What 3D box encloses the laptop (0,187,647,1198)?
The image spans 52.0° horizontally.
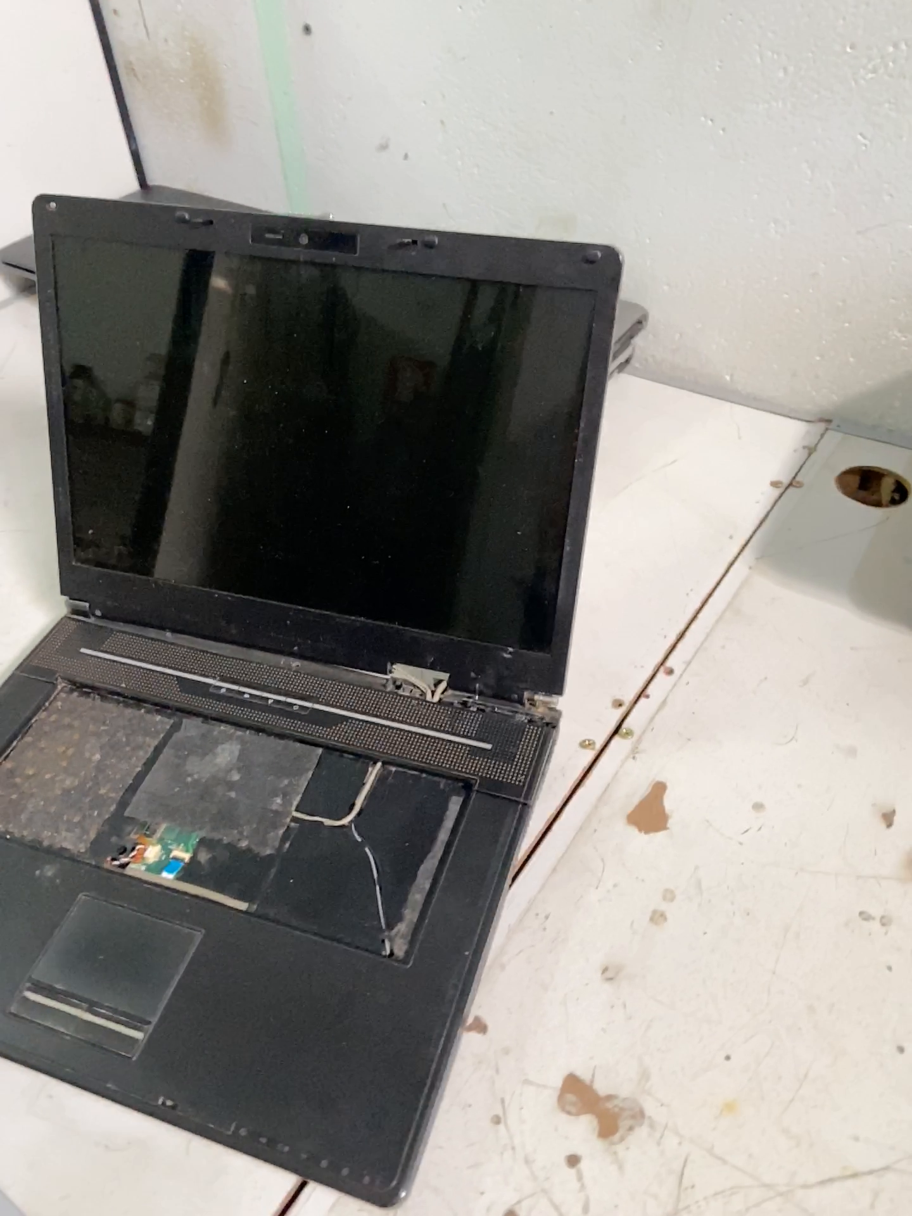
[{"bbox_3d":[-0.127,-0.005,0.475,0.344,0.235,0.381,11,47,17],"label":"laptop"}]
